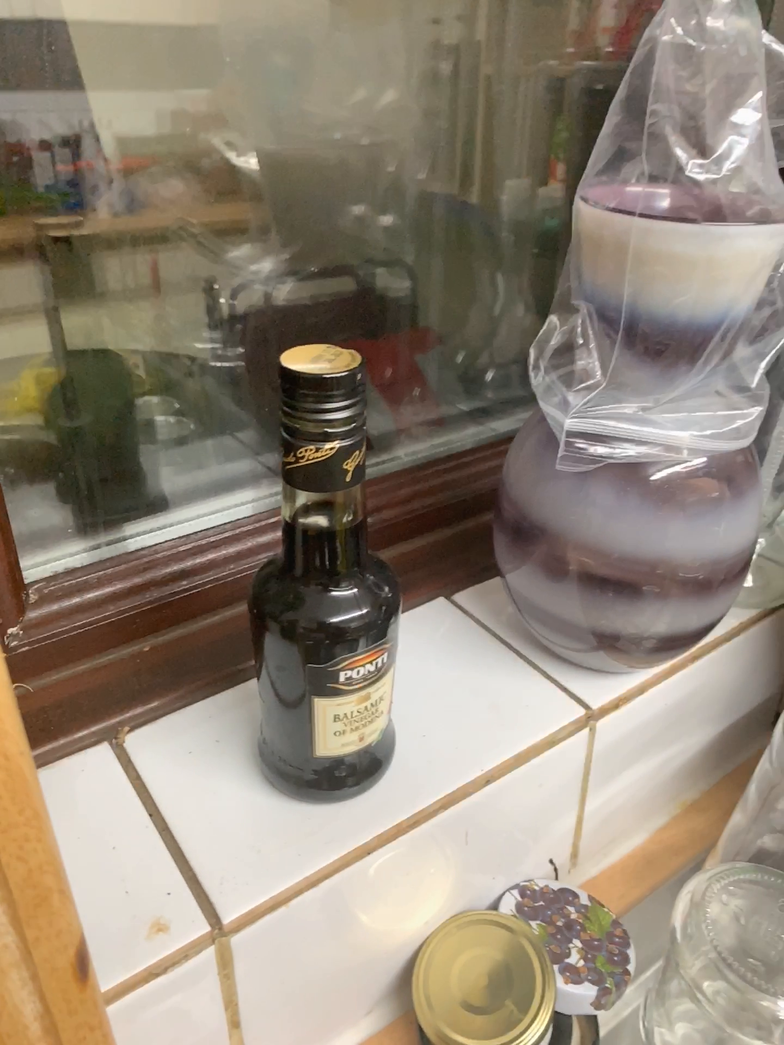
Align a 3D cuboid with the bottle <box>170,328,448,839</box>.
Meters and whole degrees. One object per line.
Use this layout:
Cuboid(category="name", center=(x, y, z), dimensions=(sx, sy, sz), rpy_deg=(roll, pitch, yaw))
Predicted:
Cuboid(category="bottle", center=(-0.032, 0.024, 0.323), dimensions=(0.070, 0.178, 0.070), rpy_deg=(1, 29, -1))
